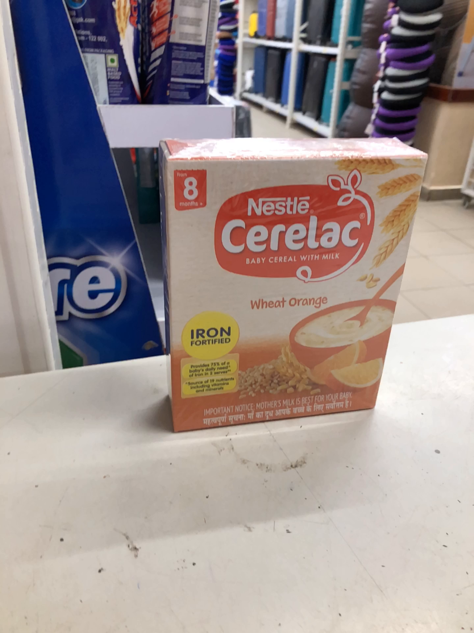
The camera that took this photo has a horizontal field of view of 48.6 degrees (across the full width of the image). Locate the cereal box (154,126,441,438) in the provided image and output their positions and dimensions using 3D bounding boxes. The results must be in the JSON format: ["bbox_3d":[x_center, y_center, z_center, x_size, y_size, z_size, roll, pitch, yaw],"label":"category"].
[{"bbox_3d":[0.030,-0.020,0.356,0.160,0.199,0.050,-4,30,-12],"label":"cereal box"}]
